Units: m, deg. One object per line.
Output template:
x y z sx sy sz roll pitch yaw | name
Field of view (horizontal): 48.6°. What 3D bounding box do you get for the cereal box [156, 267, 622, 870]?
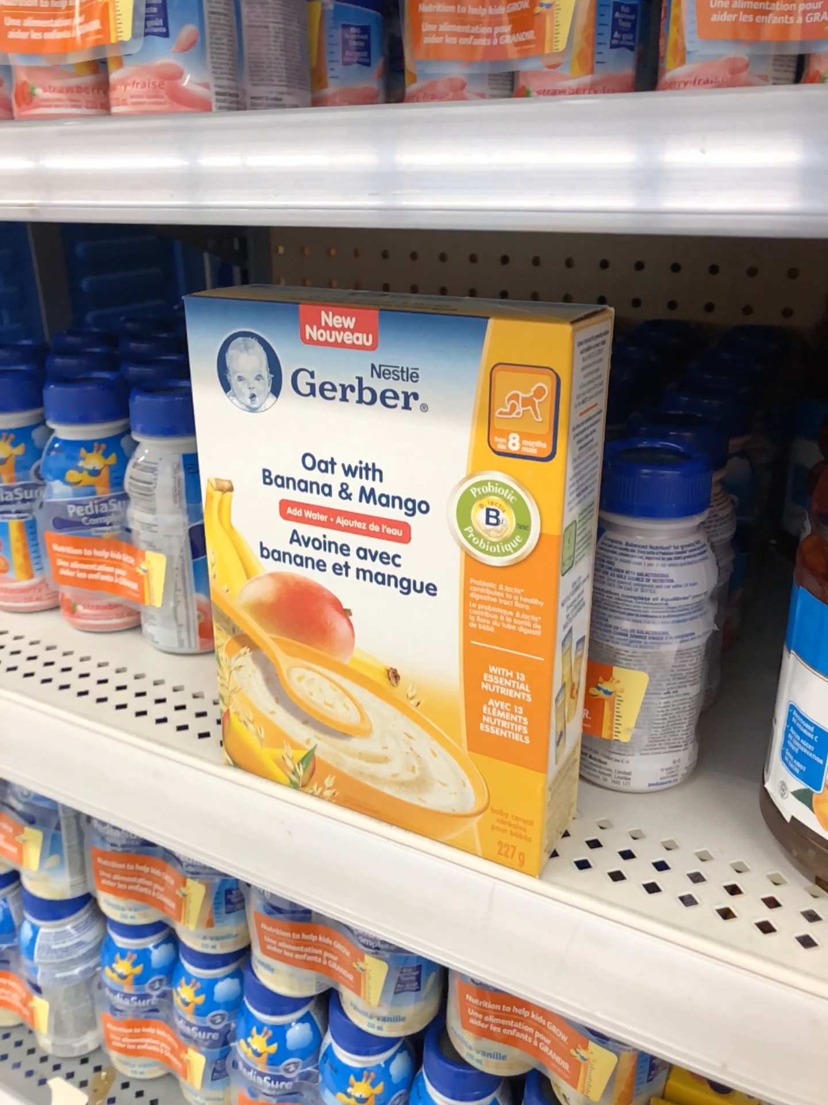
-0.013 0.001 0.331 0.150 0.189 0.040 12 25 26 | cereal box
